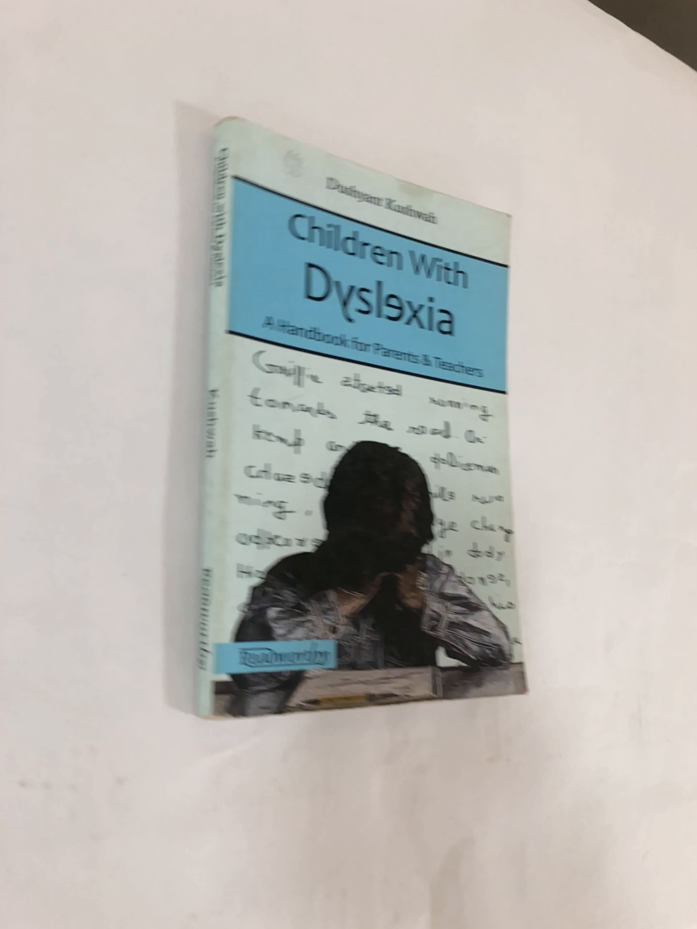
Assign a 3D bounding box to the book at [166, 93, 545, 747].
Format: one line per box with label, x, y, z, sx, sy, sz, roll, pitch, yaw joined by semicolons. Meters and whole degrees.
book;0.009;-0.014;0.308;0.151;0.030;0.220;6;78;-33
